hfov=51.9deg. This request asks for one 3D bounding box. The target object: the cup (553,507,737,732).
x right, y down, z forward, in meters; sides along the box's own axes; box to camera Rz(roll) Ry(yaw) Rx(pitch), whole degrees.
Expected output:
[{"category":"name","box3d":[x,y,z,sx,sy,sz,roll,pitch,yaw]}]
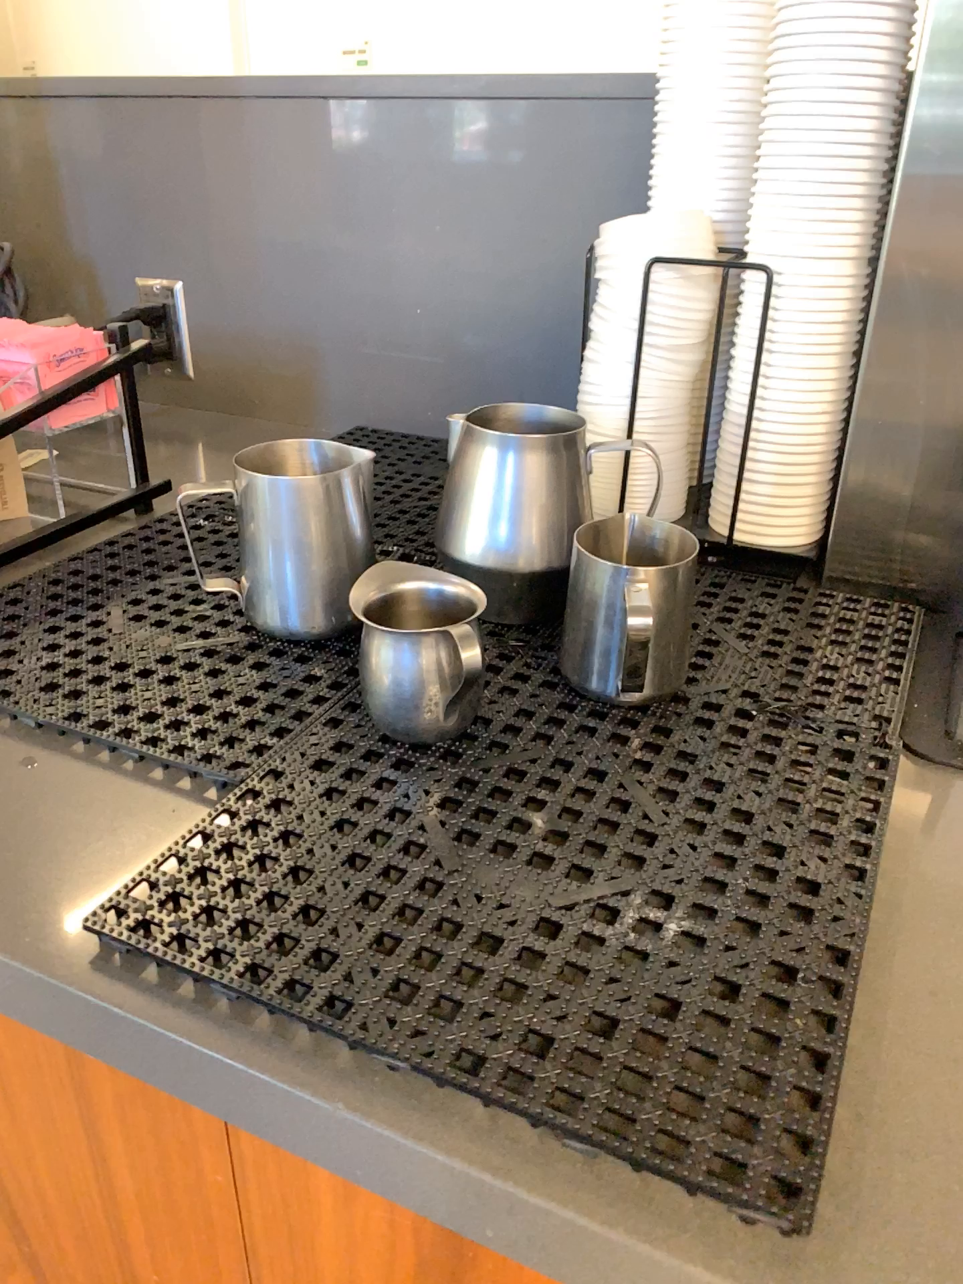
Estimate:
[{"category":"cup","box3d":[0.083,-0.016,0.540,0.080,0.080,0.111,2,27,1]}]

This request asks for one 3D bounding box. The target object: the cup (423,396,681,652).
[{"category":"cup","box3d":[0.047,-0.081,0.647,0.150,0.129,0.101,5,27,8]}]

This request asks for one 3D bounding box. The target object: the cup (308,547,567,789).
[{"category":"cup","box3d":[-0.026,0.007,0.501,0.080,0.060,0.121,-15,31,-27]}]

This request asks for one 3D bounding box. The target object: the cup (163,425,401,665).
[{"category":"cup","box3d":[-0.120,-0.063,0.606,0.120,0.109,0.080,-10,29,-21]}]
